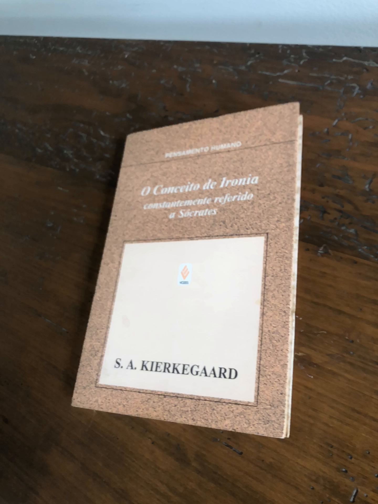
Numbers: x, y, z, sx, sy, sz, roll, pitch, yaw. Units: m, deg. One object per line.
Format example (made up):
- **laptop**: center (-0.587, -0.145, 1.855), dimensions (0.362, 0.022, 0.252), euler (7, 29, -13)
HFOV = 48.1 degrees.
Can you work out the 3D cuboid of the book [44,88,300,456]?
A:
- **book**: center (-0.006, 0.002, 0.281), dimensions (0.144, 0.024, 0.220), euler (-2, 68, 25)
